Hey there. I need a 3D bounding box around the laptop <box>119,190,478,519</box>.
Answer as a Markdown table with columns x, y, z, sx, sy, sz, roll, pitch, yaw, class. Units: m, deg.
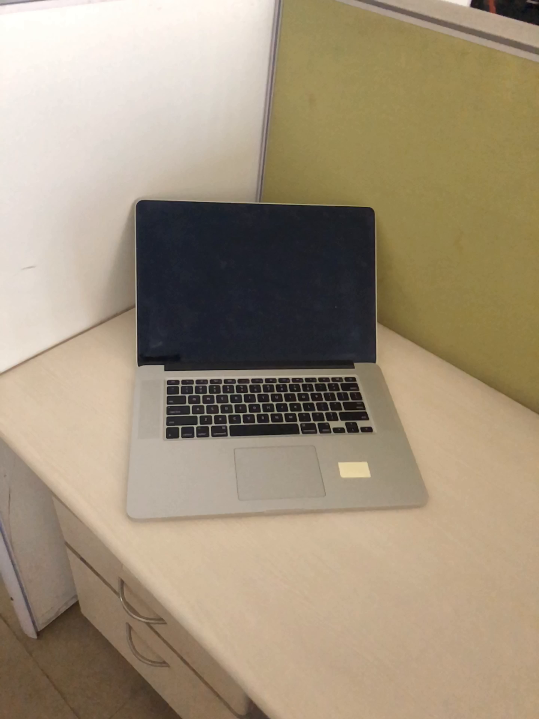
| x | y | z | sx | sy | sz | roll | pitch | yaw | class |
| --- | --- | --- | --- | --- | --- | --- | --- | --- | --- |
| 0.001 | -0.031 | 0.750 | 0.345 | 0.163 | 0.405 | 0 | 44 | -10 | laptop |
